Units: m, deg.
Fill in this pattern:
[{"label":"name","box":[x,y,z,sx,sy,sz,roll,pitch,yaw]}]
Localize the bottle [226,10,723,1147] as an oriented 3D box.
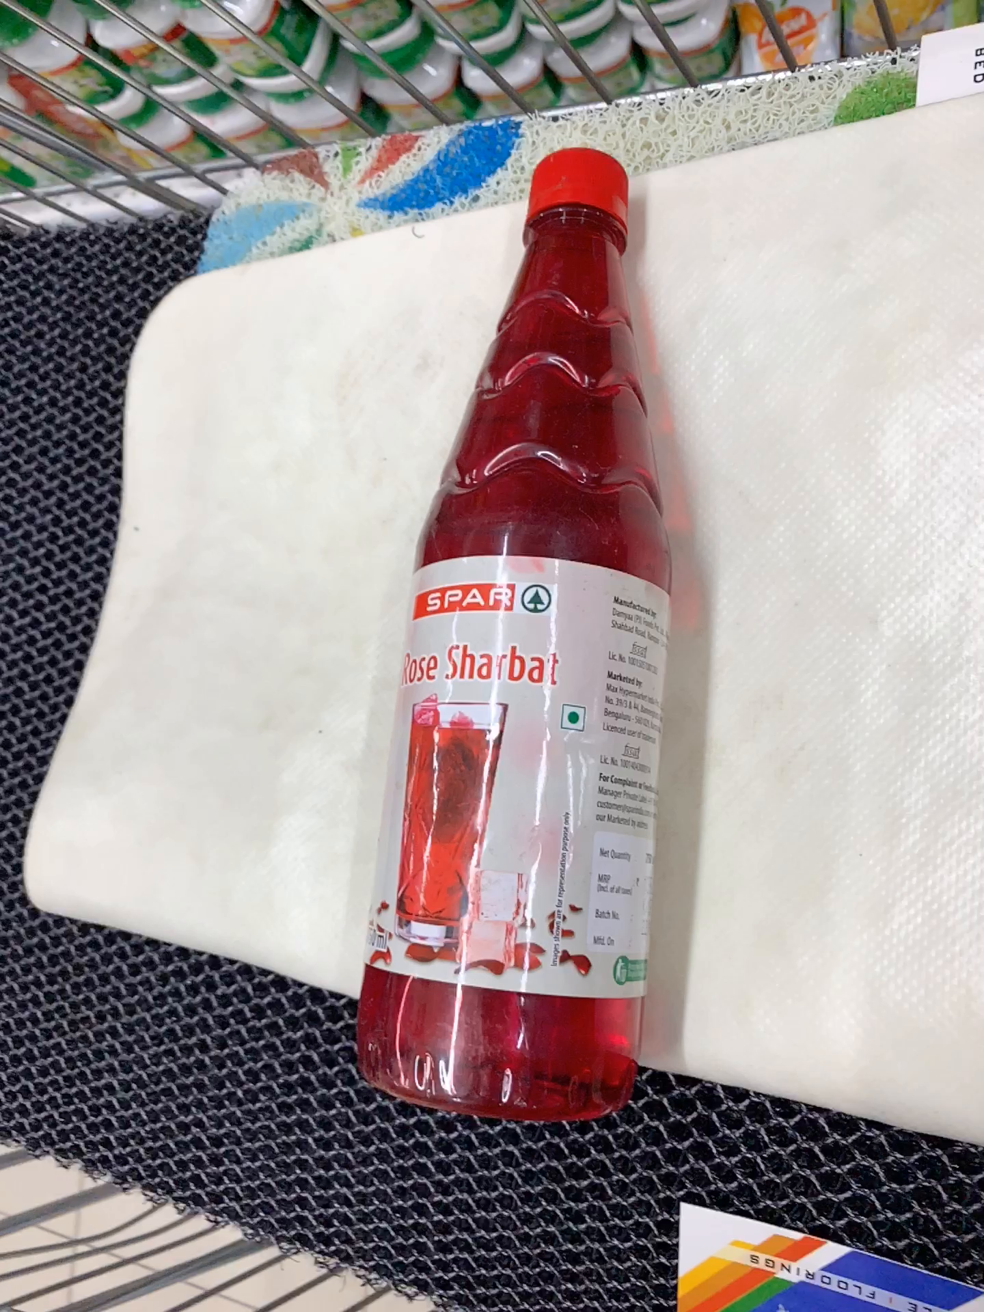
[{"label":"bottle","box":[0.004,-0.019,0.245,0.070,0.070,0.230,-1,77,31]}]
